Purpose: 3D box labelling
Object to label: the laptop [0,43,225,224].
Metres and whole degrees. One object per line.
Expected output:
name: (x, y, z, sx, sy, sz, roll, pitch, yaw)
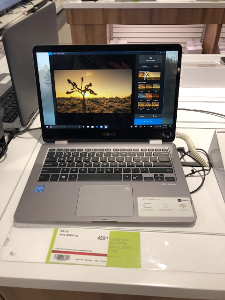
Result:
laptop: (-0.013, -0.049, 0.476, 0.319, 0.211, 0.291, -1, 39, 0)
